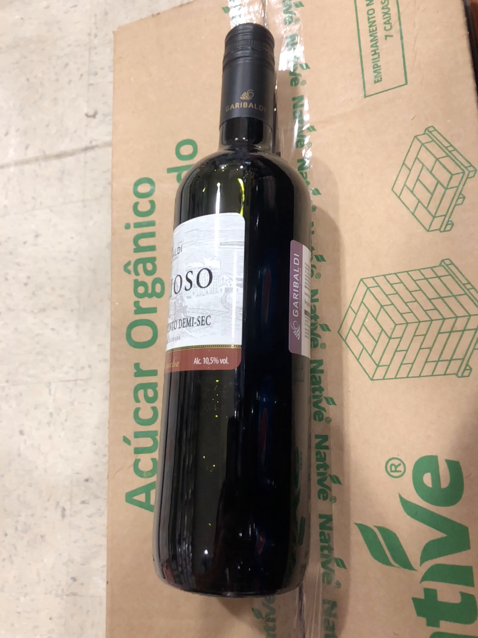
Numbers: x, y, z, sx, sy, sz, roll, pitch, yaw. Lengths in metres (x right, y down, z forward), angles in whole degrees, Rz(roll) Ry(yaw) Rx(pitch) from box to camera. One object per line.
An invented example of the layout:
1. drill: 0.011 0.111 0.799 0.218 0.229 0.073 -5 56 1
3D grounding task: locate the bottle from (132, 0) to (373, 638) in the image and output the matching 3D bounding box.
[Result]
1. bottle: 0.020 -0.037 0.275 0.090 0.080 0.340 -1 77 17
